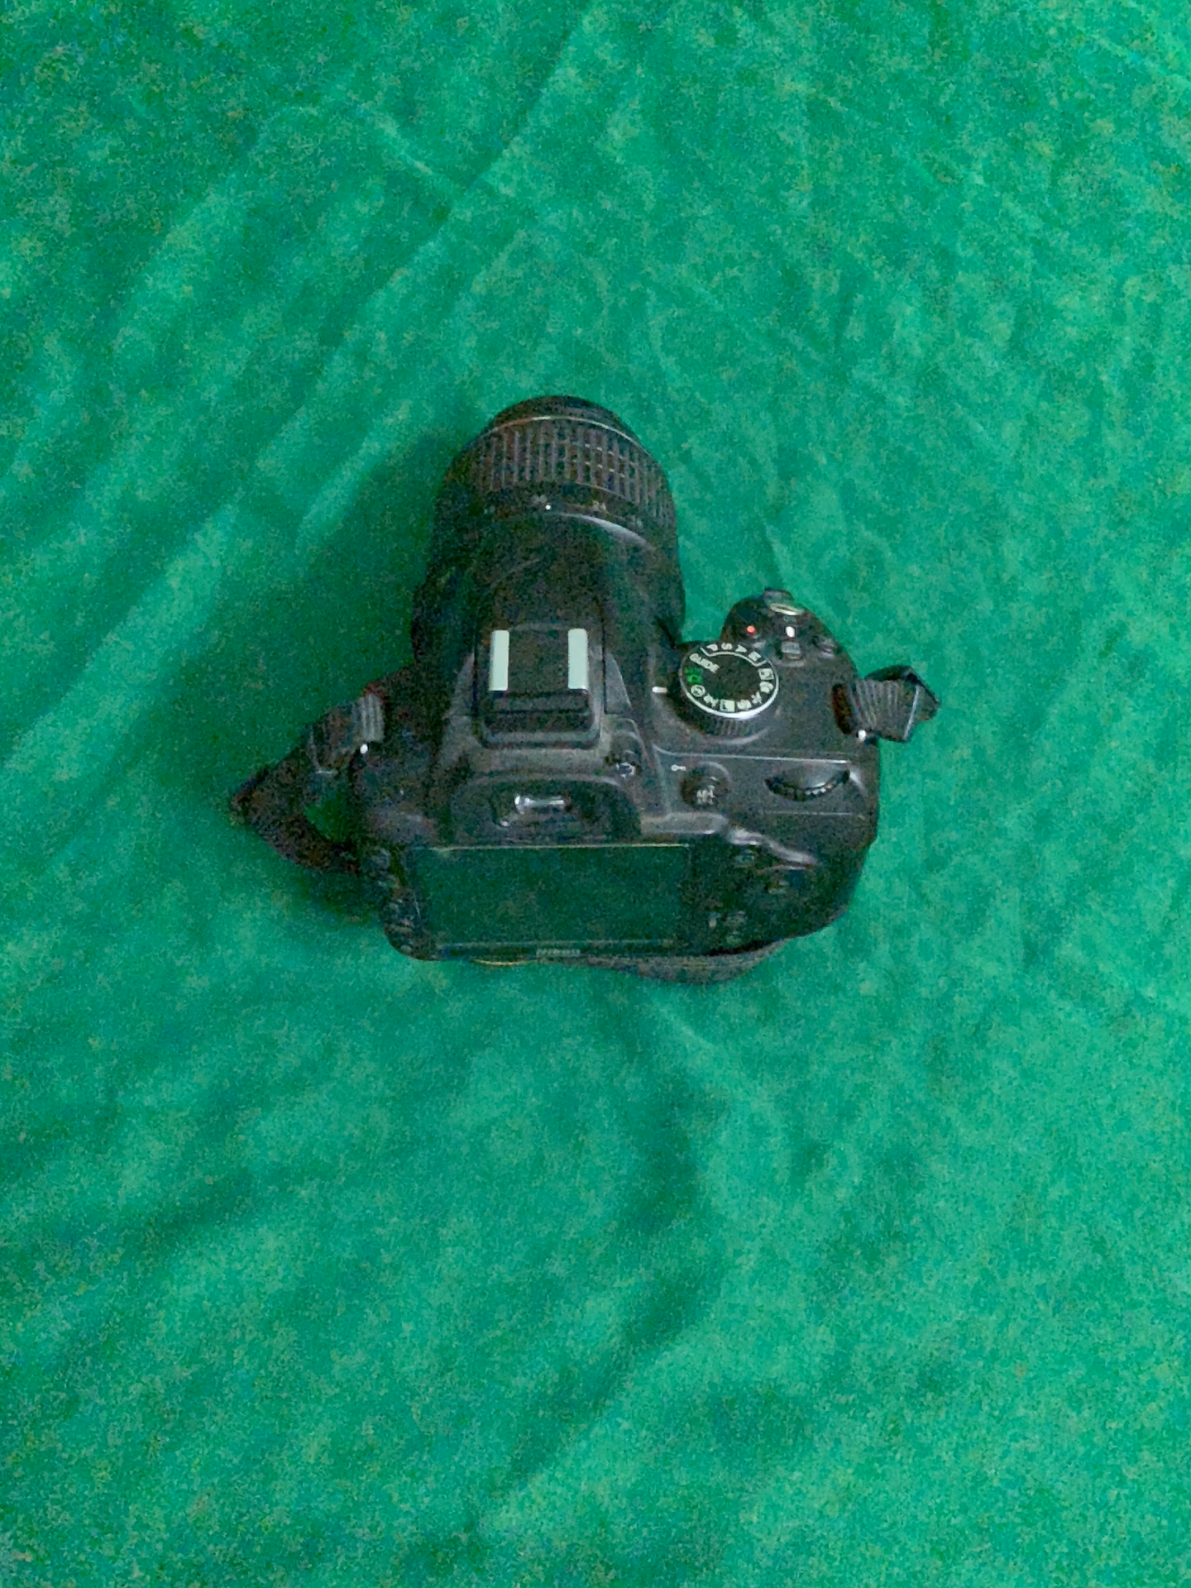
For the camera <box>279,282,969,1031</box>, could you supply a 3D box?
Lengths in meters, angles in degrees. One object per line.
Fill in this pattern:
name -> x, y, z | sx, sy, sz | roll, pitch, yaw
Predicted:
camera -> 0.001, -0.037, 0.321 | 0.133, 0.100, 0.166 | -1, 59, -3
